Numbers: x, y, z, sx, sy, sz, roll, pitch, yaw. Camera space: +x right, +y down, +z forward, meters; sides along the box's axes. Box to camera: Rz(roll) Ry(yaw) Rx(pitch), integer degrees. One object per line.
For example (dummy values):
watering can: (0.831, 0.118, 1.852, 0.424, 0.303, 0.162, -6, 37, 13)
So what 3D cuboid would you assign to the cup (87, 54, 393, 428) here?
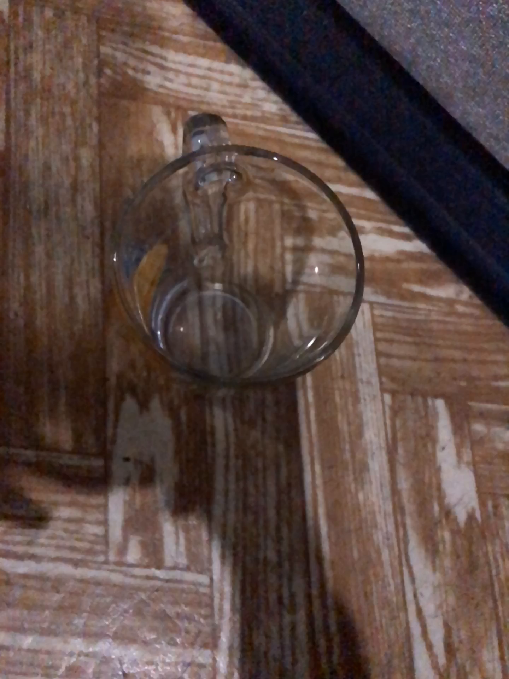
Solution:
cup: (-0.013, -0.031, 0.232, 0.085, 0.098, 0.116, -6, 79, -10)
